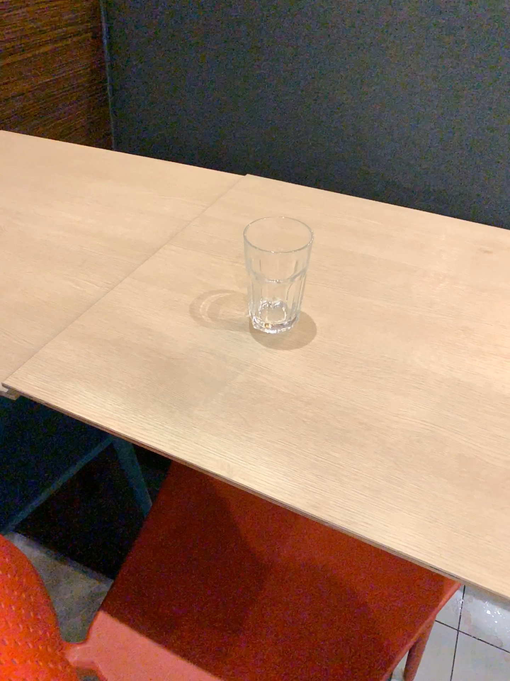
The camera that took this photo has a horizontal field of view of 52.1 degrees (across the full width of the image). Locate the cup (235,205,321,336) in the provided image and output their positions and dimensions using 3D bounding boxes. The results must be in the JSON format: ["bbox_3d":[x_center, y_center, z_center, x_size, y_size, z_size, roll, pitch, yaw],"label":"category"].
[{"bbox_3d":[0.022,-0.080,0.601,0.080,0.119,0.080,0,40,0],"label":"cup"}]
